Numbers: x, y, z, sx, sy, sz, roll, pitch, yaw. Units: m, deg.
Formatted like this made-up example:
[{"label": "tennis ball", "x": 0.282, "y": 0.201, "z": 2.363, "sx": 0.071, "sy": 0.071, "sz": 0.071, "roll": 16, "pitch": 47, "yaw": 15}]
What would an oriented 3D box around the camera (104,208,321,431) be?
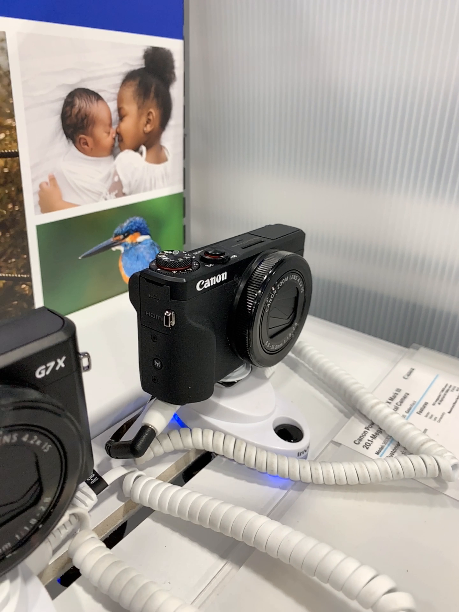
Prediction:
[{"label": "camera", "x": -0.003, "y": -0.002, "z": 0.241, "sx": 0.040, "sy": 0.070, "sz": 0.110, "roll": 20, "pitch": 31, "yaw": 34}]
